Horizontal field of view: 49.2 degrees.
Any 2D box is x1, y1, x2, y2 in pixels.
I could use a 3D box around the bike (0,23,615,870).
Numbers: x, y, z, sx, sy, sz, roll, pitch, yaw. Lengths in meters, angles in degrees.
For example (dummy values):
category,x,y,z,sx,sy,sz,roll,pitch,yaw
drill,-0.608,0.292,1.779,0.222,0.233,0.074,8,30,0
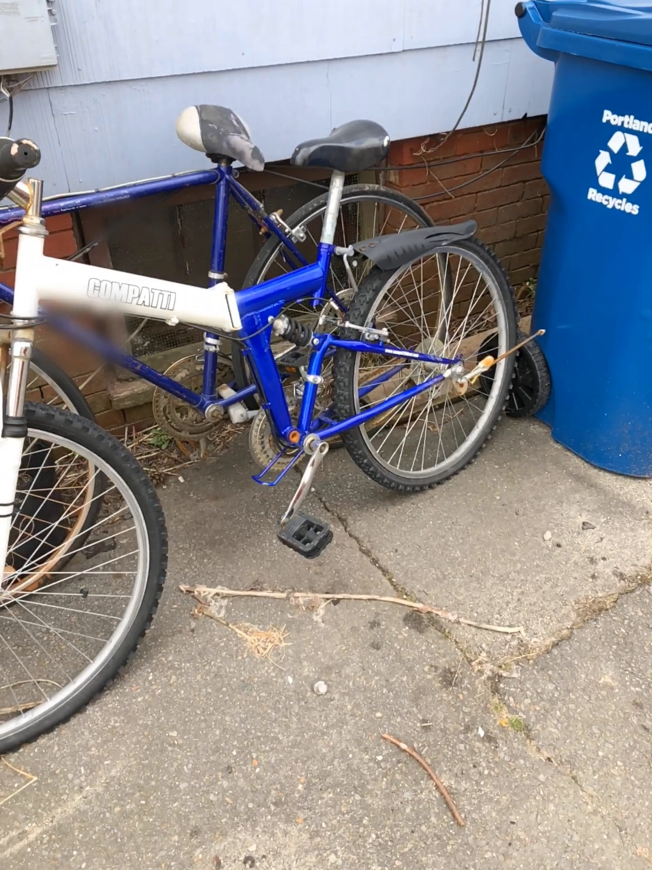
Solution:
category,x,y,z,sx,sy,sz,roll,pitch,yaw
bike,-0.255,-0.127,1.479,1.733,0.979,0.564,-29,45,-29
